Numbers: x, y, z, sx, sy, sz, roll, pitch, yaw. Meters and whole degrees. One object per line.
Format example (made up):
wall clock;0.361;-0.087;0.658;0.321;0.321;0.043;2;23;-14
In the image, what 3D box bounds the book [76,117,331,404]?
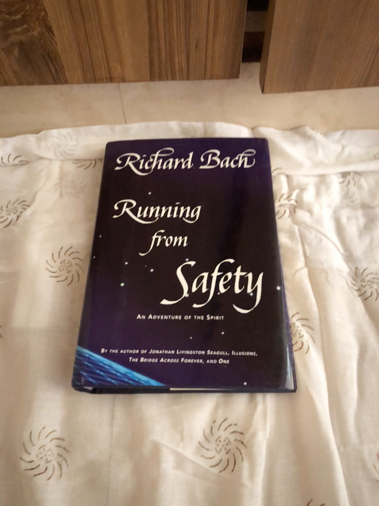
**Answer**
book;0.011;-0.008;0.362;0.170;0.040;0.251;3;59;-3
